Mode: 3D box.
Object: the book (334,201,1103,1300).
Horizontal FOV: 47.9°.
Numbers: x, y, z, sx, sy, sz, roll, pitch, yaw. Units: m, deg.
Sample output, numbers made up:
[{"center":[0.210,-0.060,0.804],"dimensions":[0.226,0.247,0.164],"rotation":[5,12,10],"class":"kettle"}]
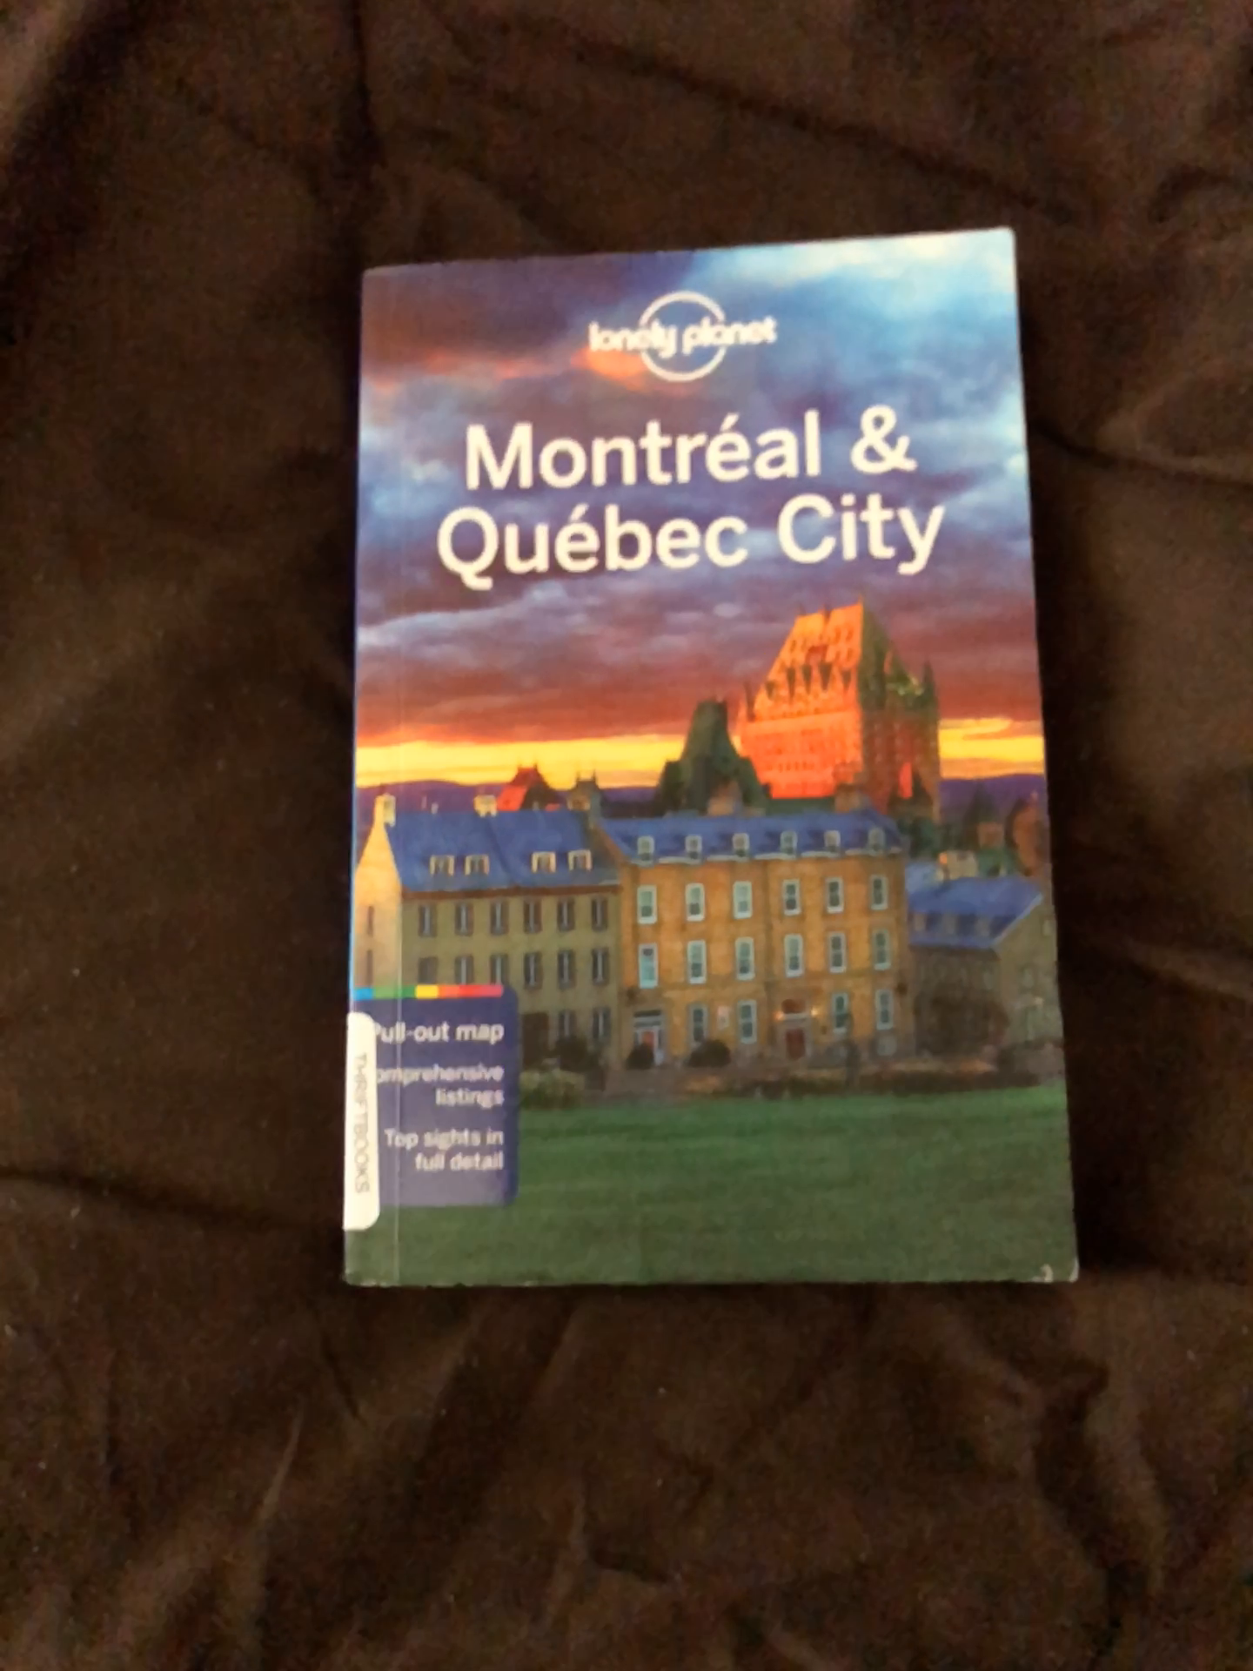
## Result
[{"center":[0.015,-0.018,0.278],"dimensions":[0.137,0.024,0.205],"rotation":[-1,82,7],"class":"book"}]
